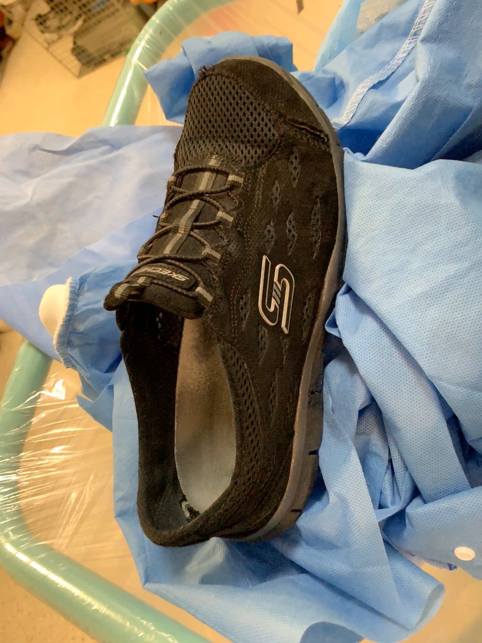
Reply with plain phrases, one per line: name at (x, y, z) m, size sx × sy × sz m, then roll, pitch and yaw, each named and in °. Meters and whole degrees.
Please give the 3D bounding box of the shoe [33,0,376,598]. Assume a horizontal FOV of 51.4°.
shoe at (-0.005, -0.016, 0.260) m, size 0.088 × 0.094 × 0.254 m, roll 3°, pitch 75°, yaw 35°
